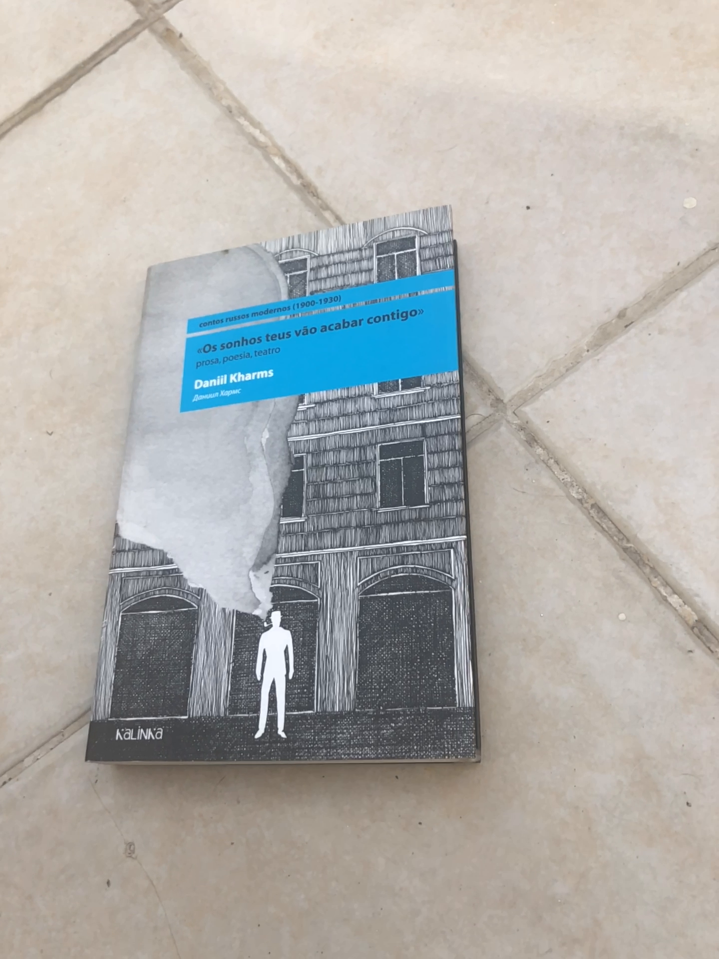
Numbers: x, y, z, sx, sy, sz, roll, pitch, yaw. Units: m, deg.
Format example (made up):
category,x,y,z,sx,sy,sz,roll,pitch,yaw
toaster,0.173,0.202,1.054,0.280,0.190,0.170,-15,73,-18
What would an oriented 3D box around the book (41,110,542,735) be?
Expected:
category,x,y,z,sx,sy,sz,roll,pitch,yaw
book,-0.016,-0.017,0.235,0.120,0.040,0.170,-6,66,16
